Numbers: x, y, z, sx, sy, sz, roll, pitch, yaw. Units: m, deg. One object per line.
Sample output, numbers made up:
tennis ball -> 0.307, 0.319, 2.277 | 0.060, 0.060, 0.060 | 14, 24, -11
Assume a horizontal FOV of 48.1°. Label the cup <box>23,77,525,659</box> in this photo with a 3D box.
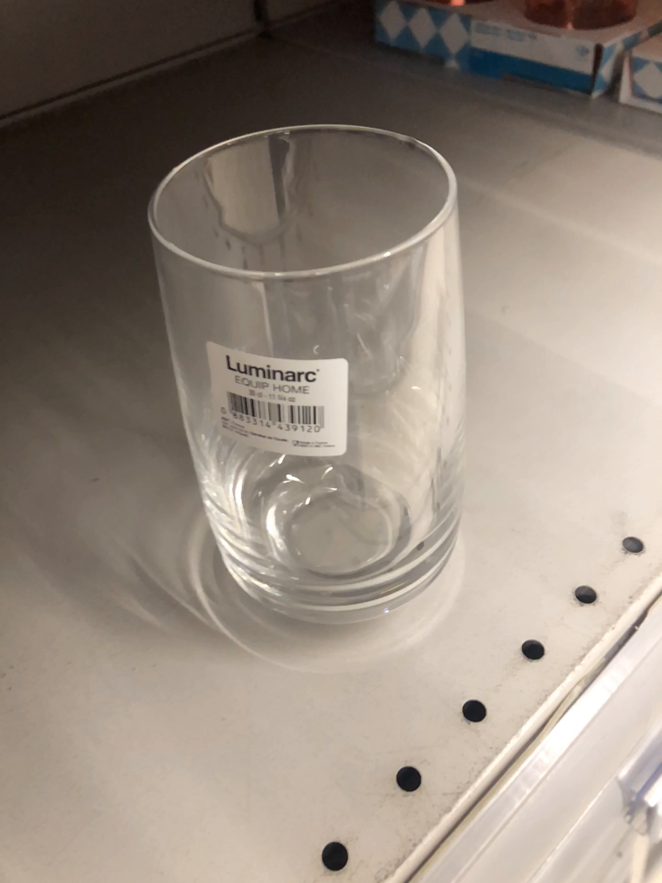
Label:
cup -> -0.003, -0.017, 0.189 | 0.076, 0.112, 0.077 | -3, 45, 3
